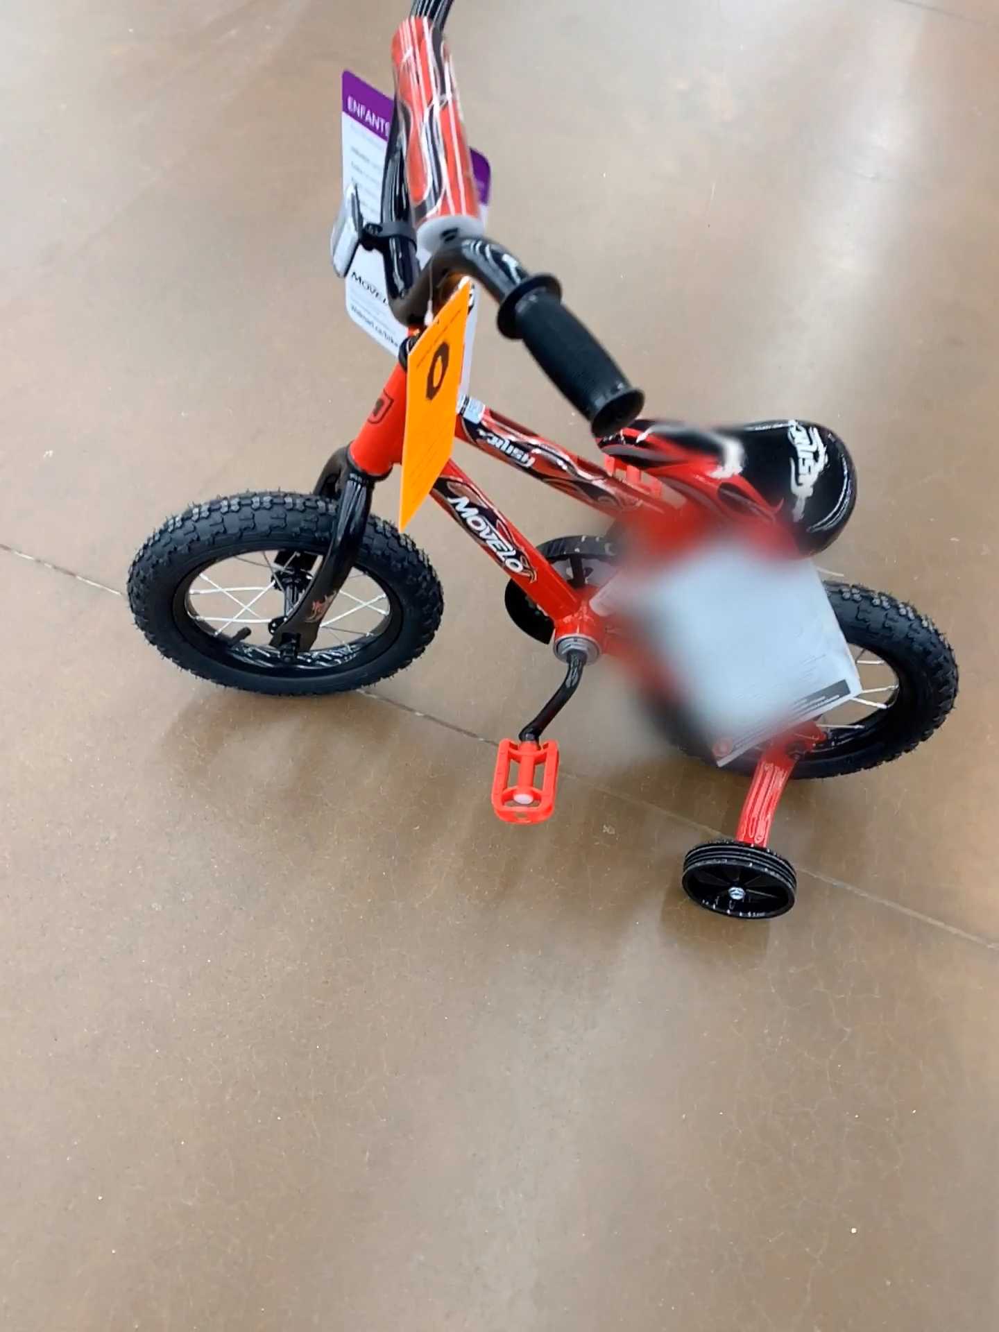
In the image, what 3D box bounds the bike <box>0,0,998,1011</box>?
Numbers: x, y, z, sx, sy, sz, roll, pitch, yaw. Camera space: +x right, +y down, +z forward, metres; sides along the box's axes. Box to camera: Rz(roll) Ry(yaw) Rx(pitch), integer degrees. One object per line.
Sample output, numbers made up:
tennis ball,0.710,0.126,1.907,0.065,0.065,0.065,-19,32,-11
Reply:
bike,0.068,-0.133,0.724,0.735,0.604,0.441,10,52,-3
